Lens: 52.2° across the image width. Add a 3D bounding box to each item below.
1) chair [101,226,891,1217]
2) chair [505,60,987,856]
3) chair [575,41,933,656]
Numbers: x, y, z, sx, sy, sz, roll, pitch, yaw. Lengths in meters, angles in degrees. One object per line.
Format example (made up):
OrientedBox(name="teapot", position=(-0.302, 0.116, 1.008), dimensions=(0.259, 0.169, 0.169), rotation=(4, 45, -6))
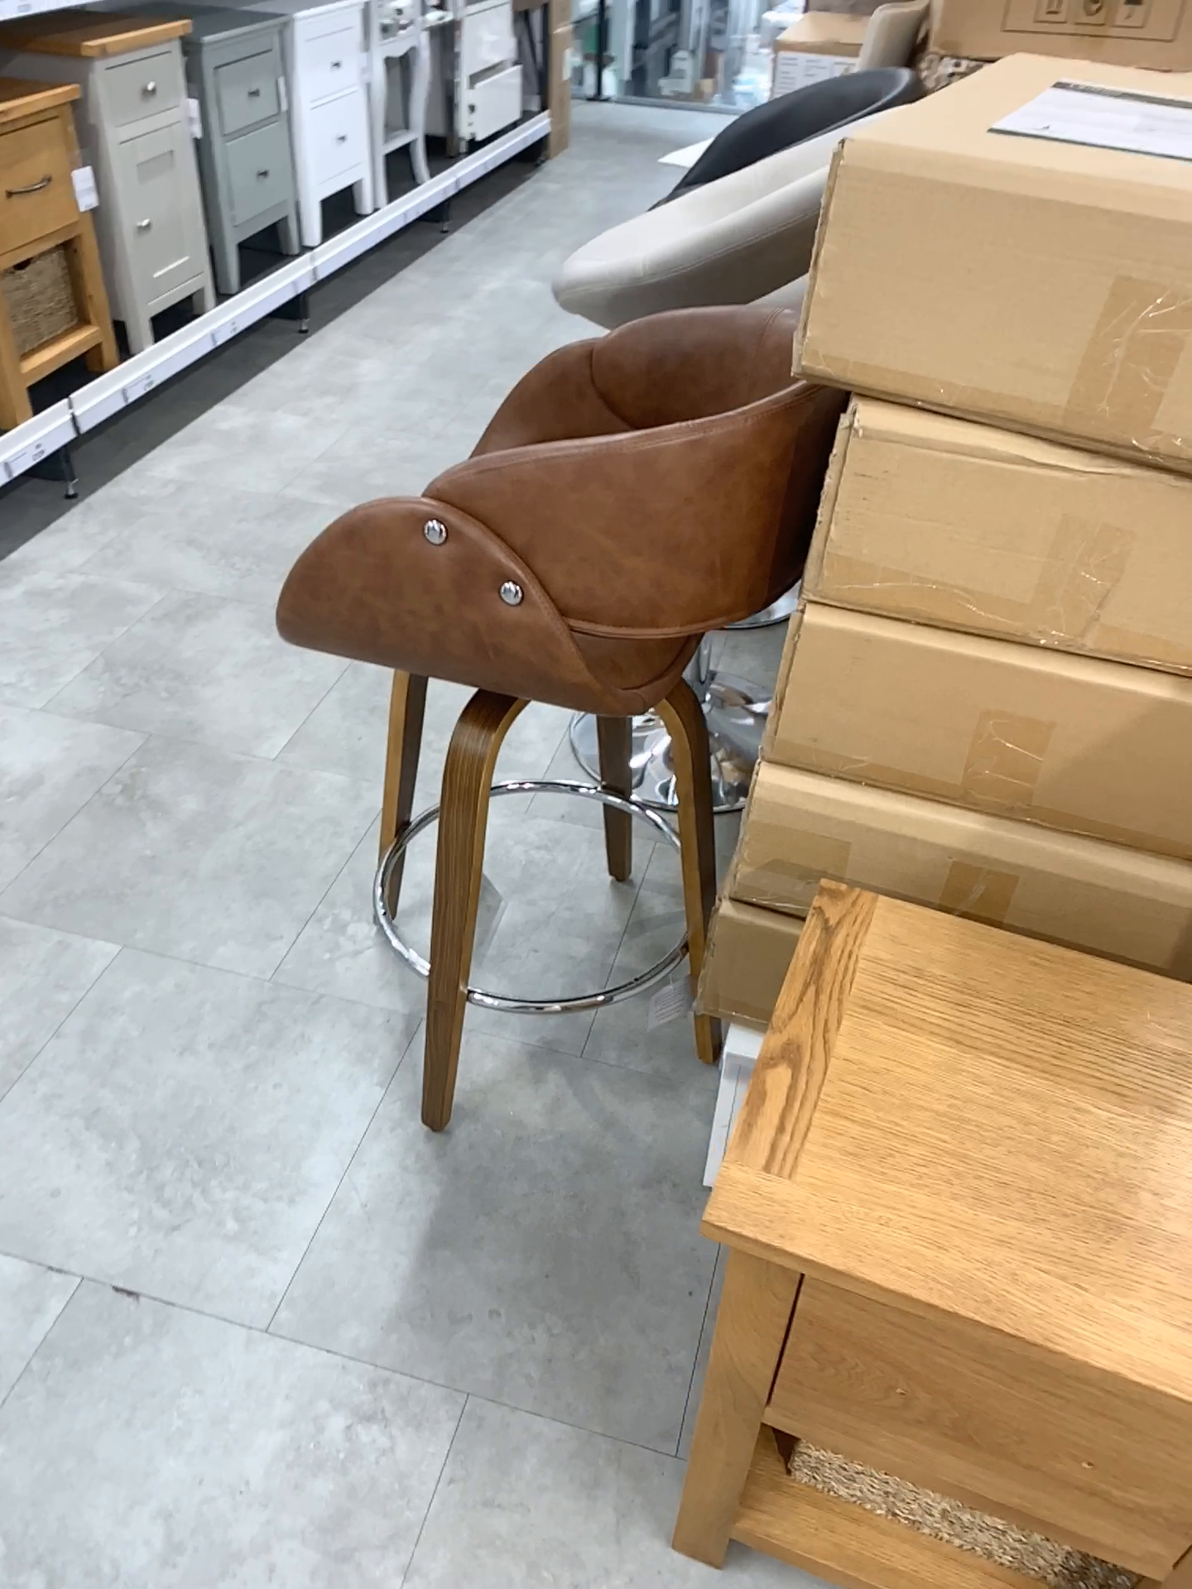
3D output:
OrientedBox(name="chair", position=(-0.060, -0.082, 1.357), dimensions=(0.550, 0.846, 0.548), rotation=(13, 40, 12))
OrientedBox(name="chair", position=(0.192, -0.474, 1.785), dimensions=(0.520, 0.945, 0.498), rotation=(11, 39, 10))
OrientedBox(name="chair", position=(0.267, -0.796, 2.204), dimensions=(0.470, 0.886, 0.498), rotation=(11, 39, 10))
